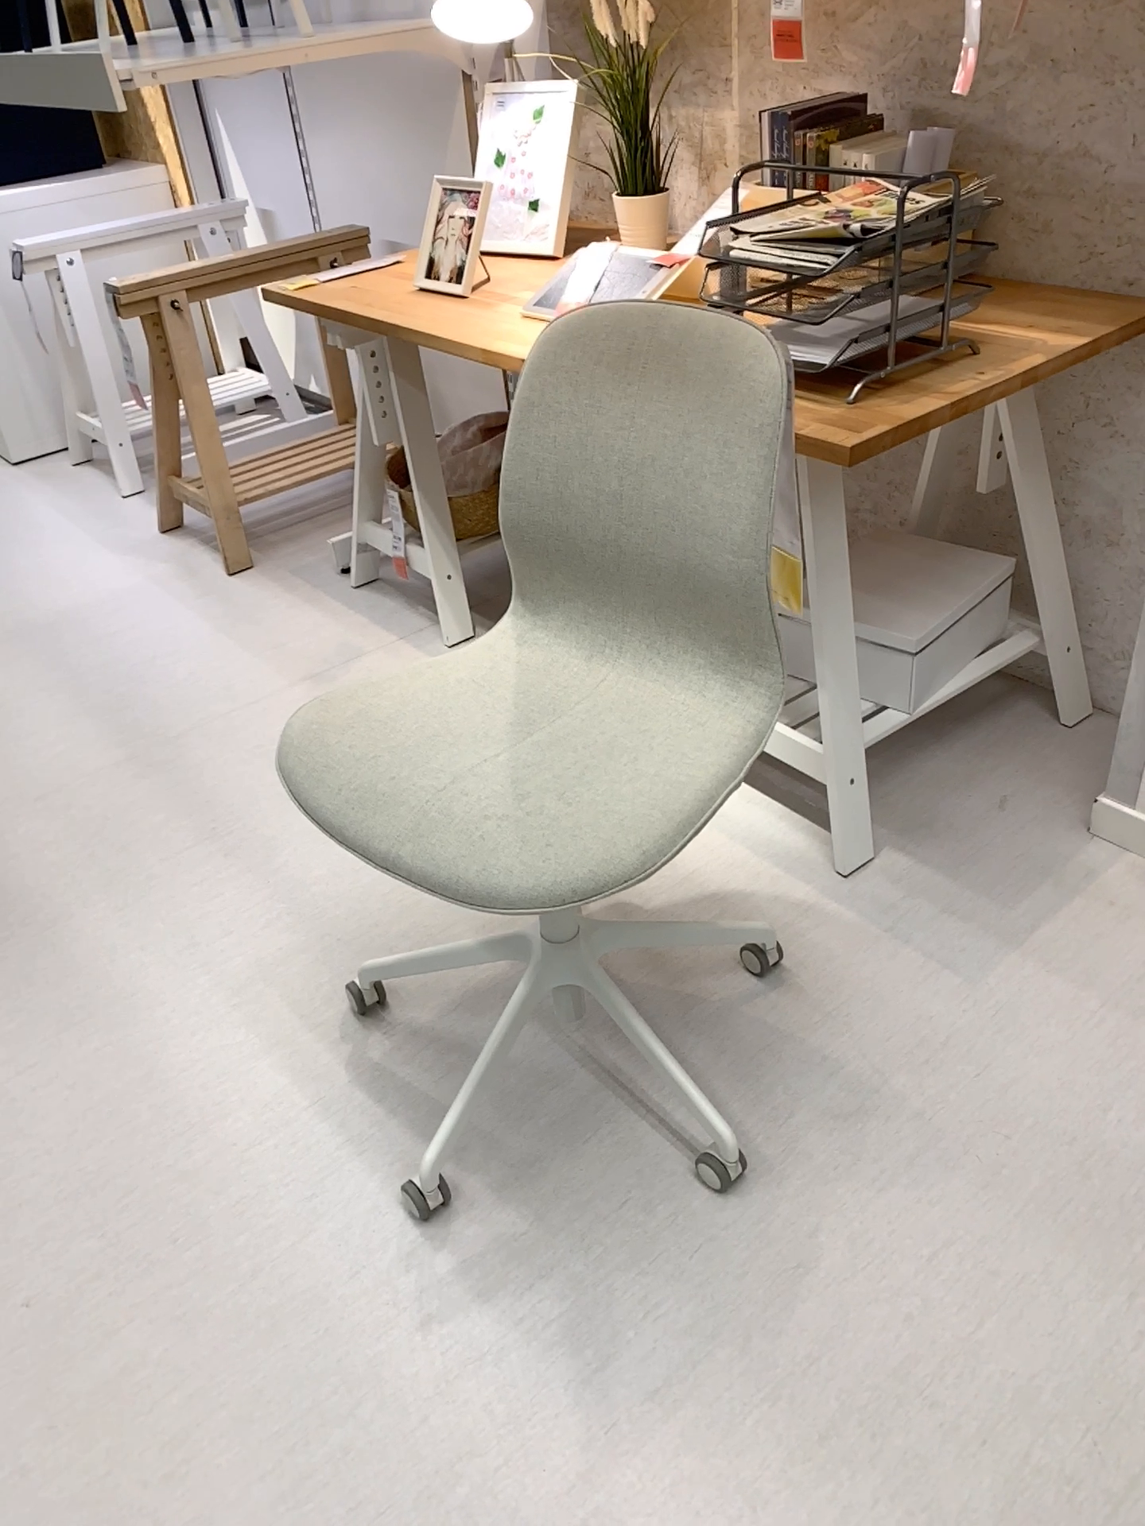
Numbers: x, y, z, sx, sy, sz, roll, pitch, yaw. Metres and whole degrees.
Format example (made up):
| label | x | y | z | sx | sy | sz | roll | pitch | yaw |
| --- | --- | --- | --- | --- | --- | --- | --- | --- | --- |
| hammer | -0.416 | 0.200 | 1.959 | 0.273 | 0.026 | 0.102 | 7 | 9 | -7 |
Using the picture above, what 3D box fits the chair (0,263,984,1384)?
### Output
| label | x | y | z | sx | sy | sz | roll | pitch | yaw |
| --- | --- | --- | --- | --- | --- | --- | --- | --- | --- |
| chair | -0.059 | -0.001 | 1.305 | 0.661 | 0.866 | 0.662 | -33 | 42 | -33 |
